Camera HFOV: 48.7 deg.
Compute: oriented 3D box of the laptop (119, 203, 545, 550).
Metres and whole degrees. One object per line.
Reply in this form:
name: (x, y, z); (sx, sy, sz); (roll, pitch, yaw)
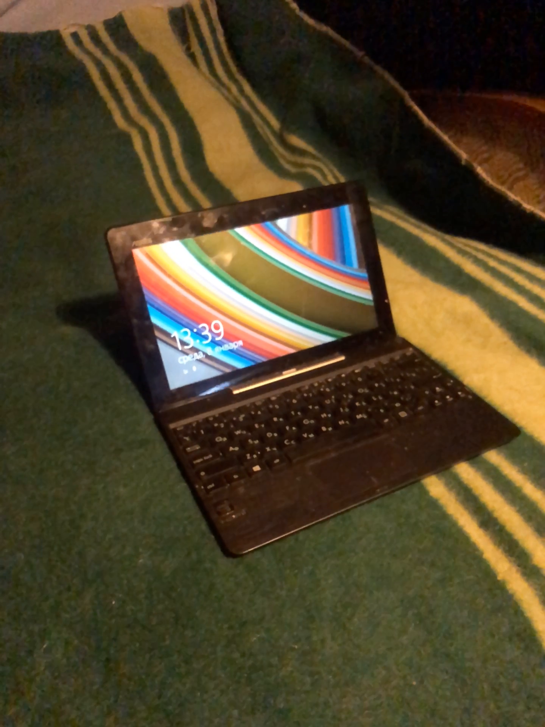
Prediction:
laptop: (0.037, -0.018, 0.510); (0.257, 0.116, 0.258); (-17, 41, -21)
